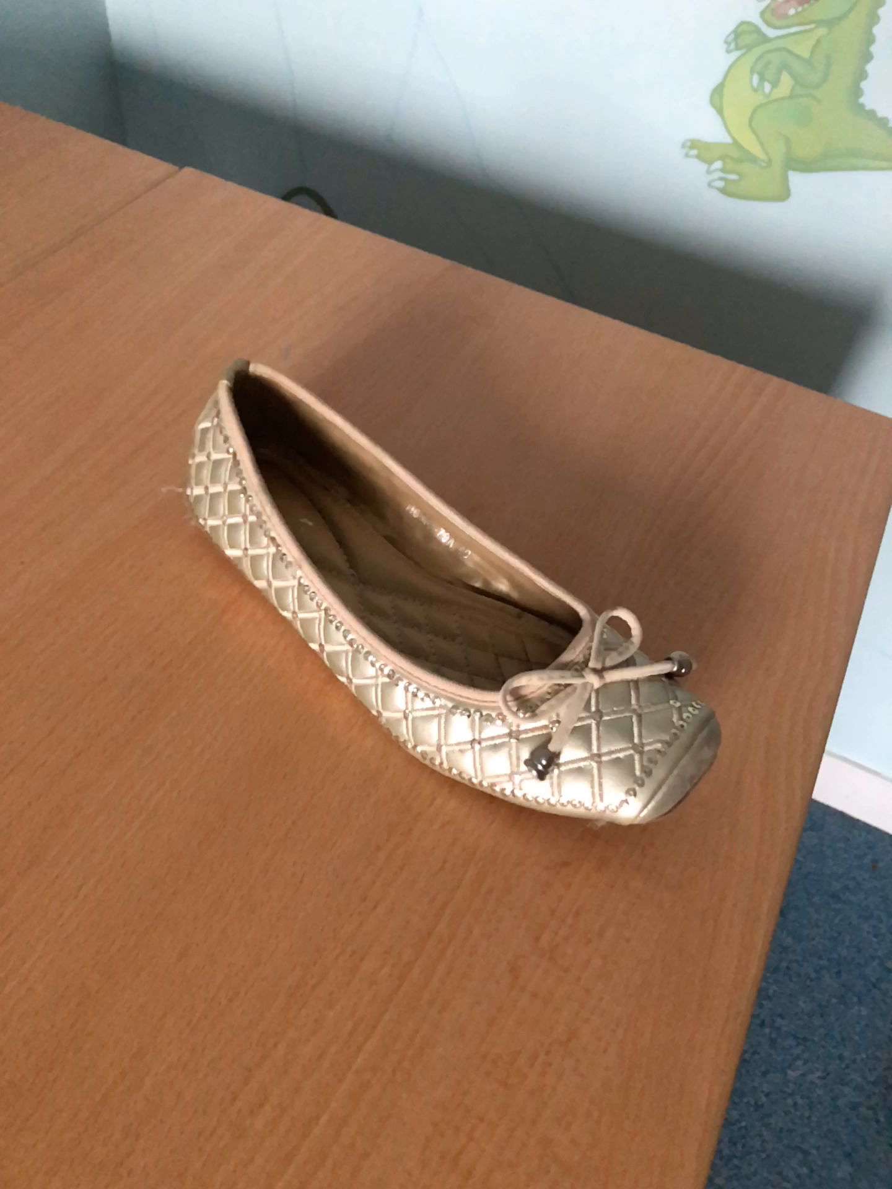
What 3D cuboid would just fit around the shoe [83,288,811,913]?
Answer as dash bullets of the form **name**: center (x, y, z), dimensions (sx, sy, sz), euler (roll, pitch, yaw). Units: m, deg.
- **shoe**: center (-0.010, -0.012, 0.386), dimensions (0.260, 0.080, 0.101), euler (34, 54, 21)
